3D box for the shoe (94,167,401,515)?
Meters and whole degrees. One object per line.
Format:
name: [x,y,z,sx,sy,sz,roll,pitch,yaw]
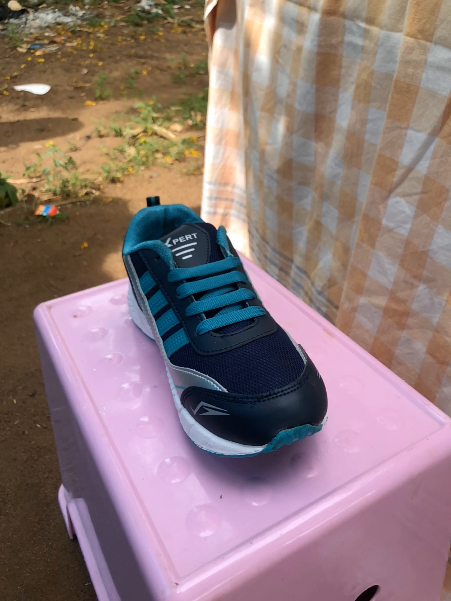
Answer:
shoe: [-0.008,0.003,0.398,0.110,0.109,0.271,-16,39,-20]
